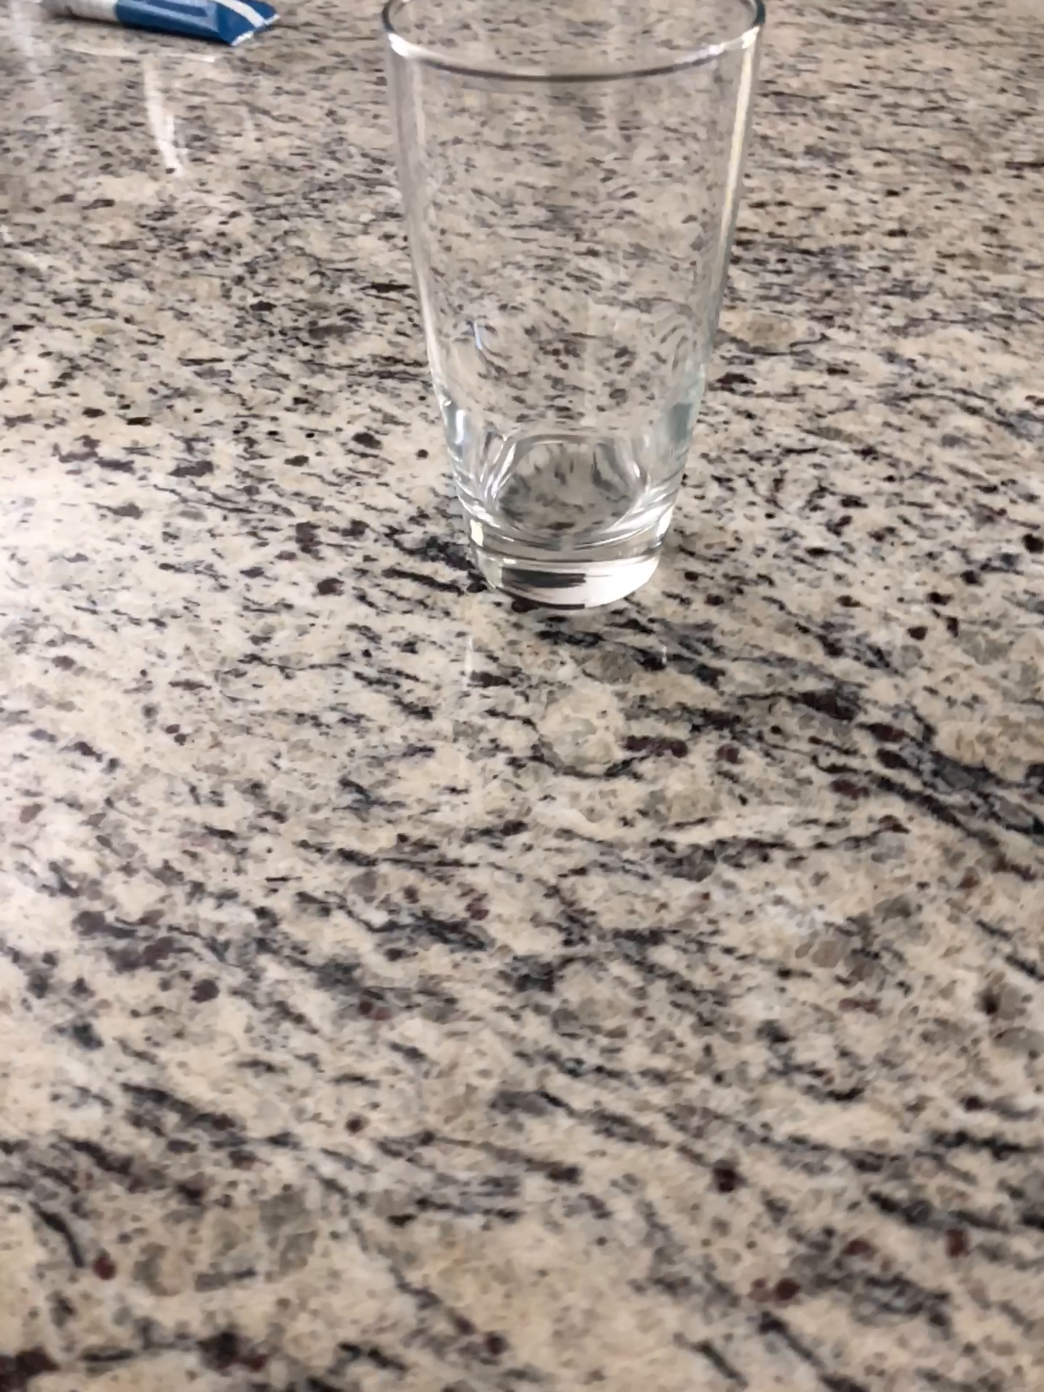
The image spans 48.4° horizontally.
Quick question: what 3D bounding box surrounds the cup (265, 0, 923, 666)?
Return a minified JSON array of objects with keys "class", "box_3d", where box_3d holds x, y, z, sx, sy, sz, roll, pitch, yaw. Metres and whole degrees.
[{"class":"cup","box_3d":[0.012,-0.101,0.287,0.100,0.129,0.101,-1,44,1]}]
